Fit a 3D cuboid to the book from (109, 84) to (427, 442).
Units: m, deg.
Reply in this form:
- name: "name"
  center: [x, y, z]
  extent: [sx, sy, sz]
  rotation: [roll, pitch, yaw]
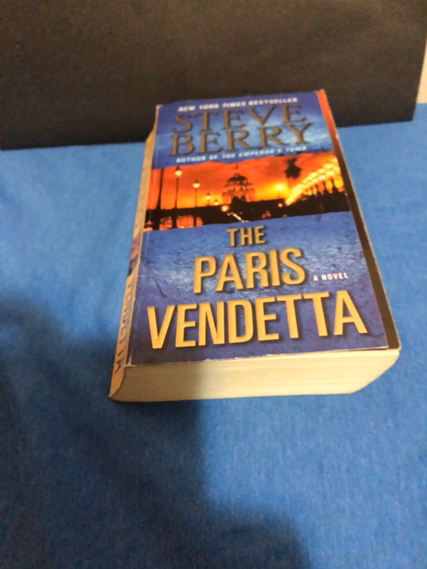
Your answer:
- name: "book"
  center: [0.028, -0.029, 0.247]
  extent: [0.120, 0.050, 0.201]
  rotation: [2, 49, 1]
